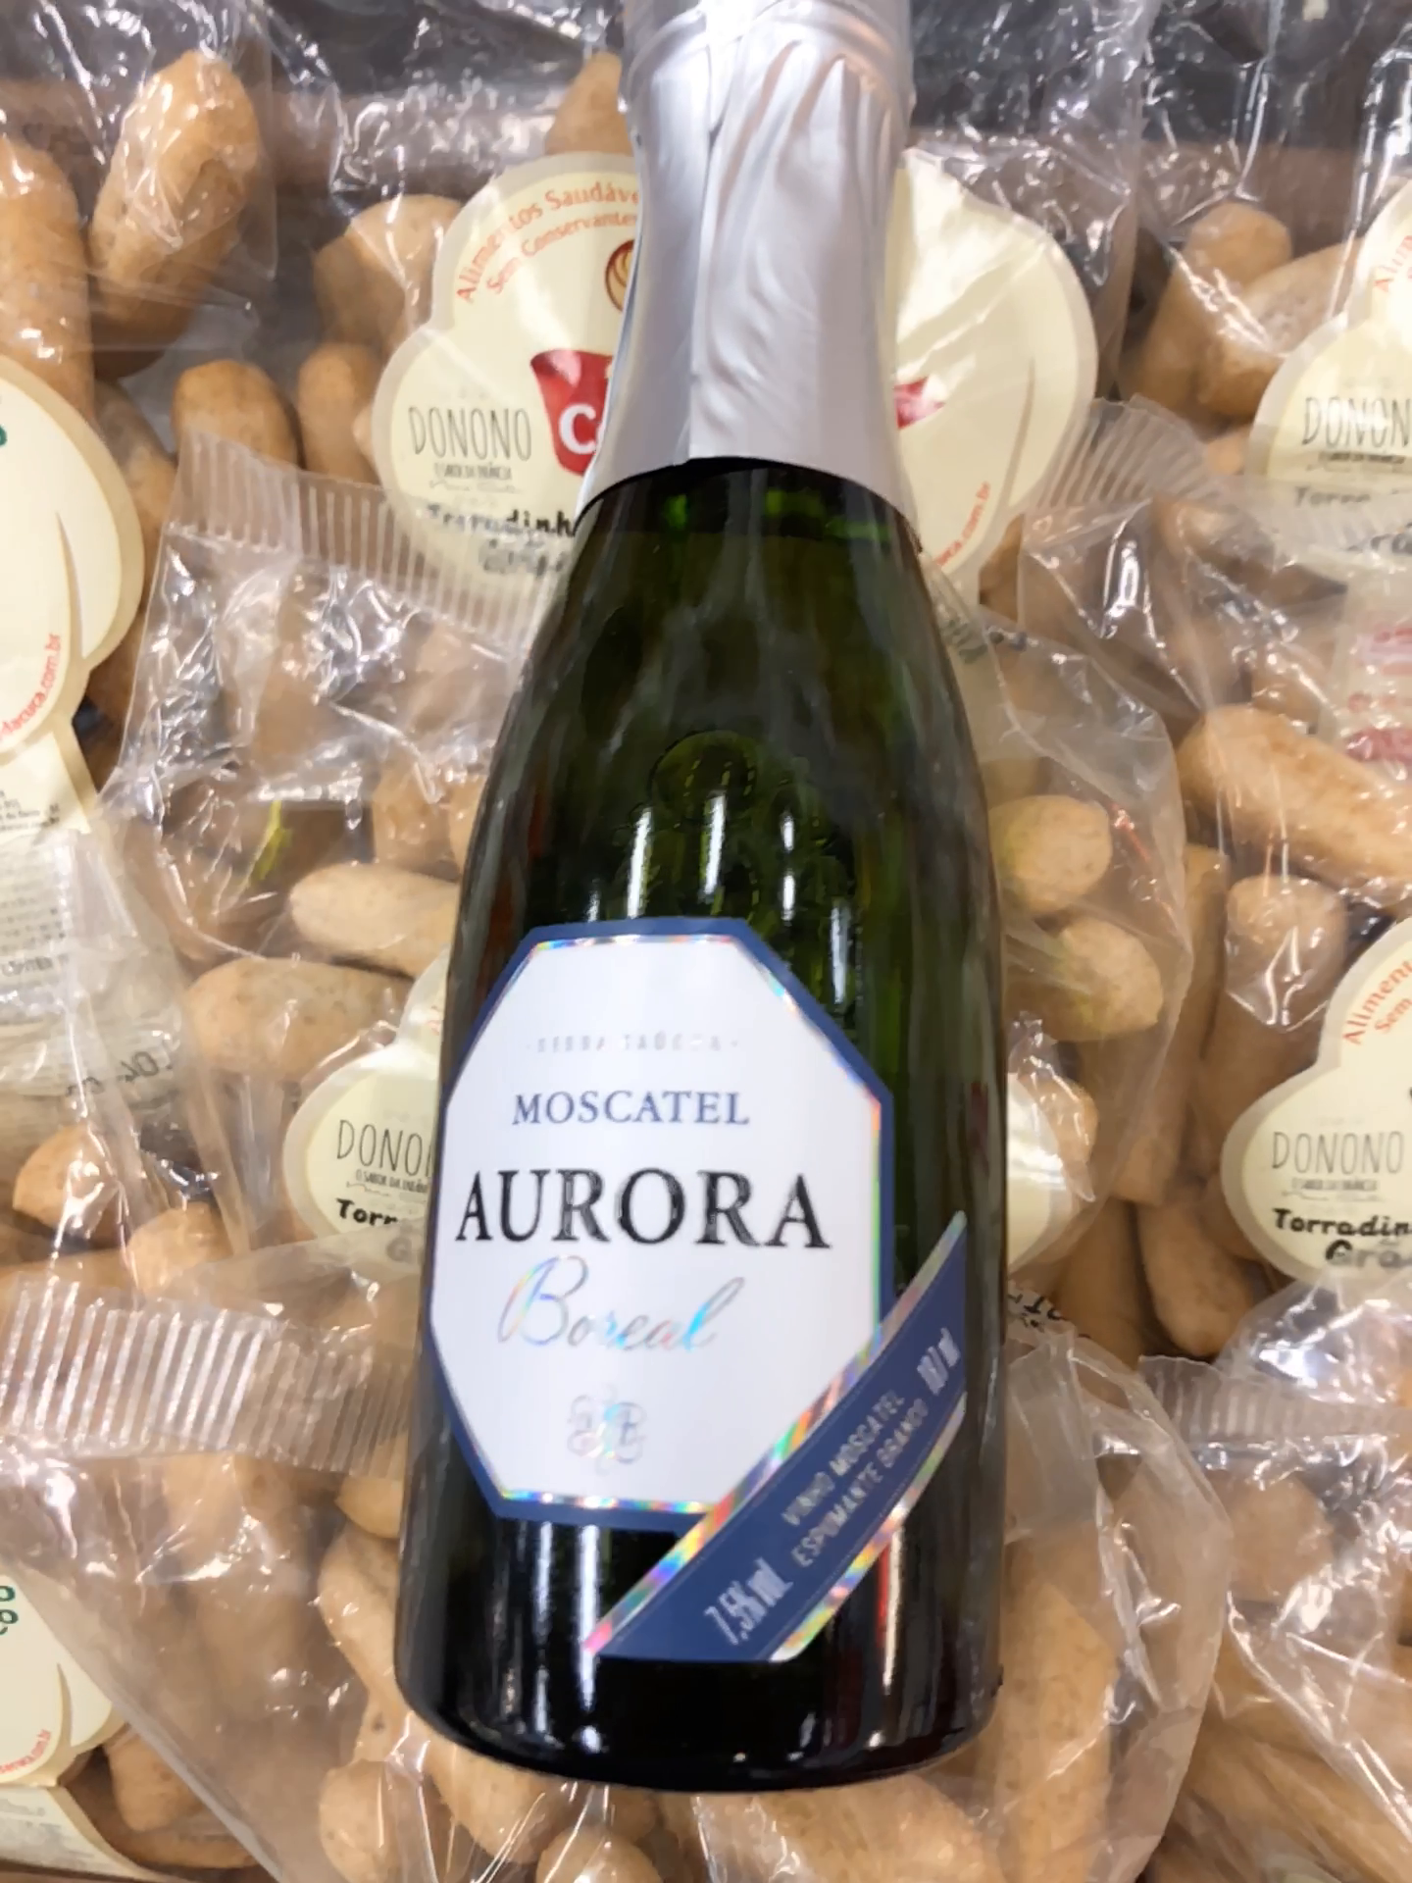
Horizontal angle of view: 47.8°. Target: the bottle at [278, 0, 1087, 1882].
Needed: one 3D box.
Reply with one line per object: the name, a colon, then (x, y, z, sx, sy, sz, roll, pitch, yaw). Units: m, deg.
bottle: (0.001, -0.020, 0.156, 0.060, 0.050, 0.200, 2, 83, 0)
